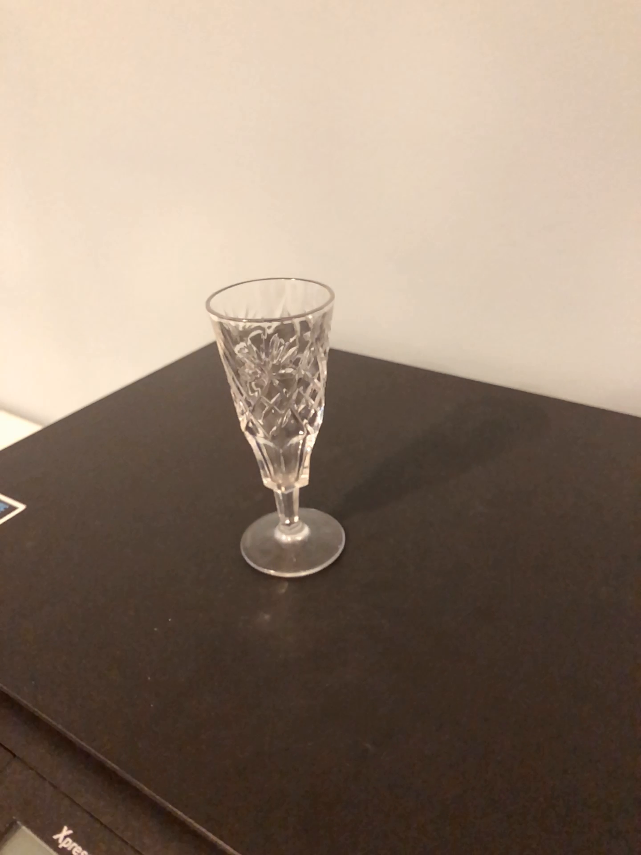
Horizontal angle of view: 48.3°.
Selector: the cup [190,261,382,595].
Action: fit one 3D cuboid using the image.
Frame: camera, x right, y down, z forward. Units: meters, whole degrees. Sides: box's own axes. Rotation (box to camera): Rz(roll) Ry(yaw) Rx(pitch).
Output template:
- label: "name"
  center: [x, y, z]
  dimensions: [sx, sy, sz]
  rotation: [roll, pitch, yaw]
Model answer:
- label: "cup"
  center: [-0.012, -0.001, 0.283]
  dimensions: [0.054, 0.109, 0.057]
  rotation: [-2, 29, 1]
